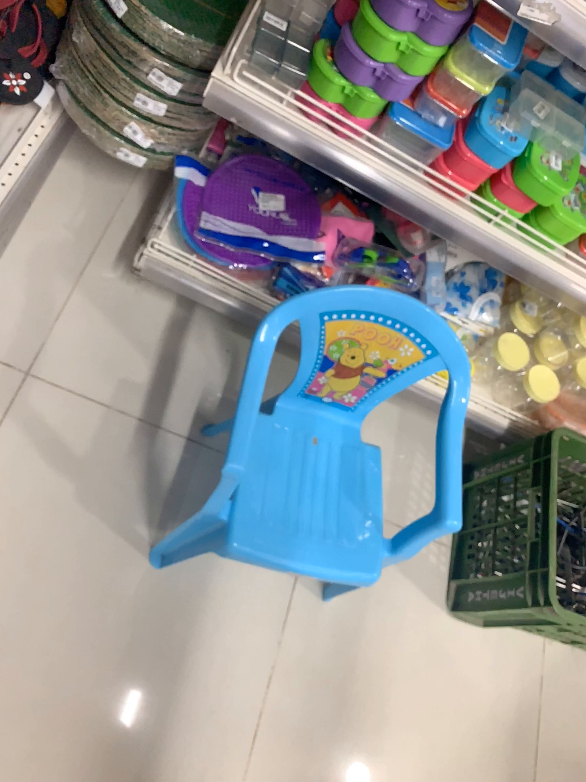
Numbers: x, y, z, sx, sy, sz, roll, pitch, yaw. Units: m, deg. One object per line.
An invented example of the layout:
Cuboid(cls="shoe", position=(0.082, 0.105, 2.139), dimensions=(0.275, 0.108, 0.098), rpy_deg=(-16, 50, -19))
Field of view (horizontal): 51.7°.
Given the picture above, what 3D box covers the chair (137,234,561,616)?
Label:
Cuboid(cls="chair", position=(0.042, 0.116, 0.901), dimensions=(0.390, 0.509, 0.350), rpy_deg=(16, 64, -18))
